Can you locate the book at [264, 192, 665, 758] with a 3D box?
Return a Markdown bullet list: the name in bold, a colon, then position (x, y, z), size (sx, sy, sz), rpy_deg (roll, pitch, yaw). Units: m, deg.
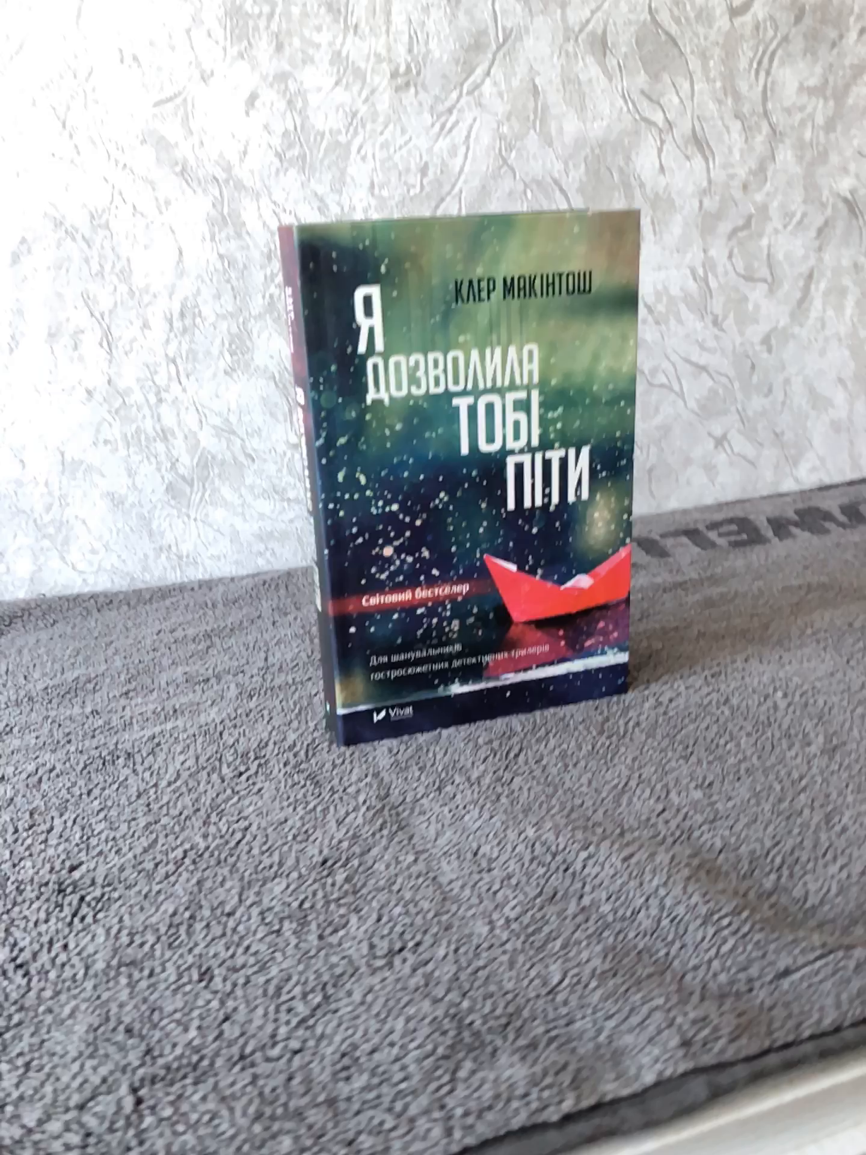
- **book**: position (0.017, -0.042, 0.382), size (0.139, 0.201, 0.044), rpy_deg (-10, 22, -18)
